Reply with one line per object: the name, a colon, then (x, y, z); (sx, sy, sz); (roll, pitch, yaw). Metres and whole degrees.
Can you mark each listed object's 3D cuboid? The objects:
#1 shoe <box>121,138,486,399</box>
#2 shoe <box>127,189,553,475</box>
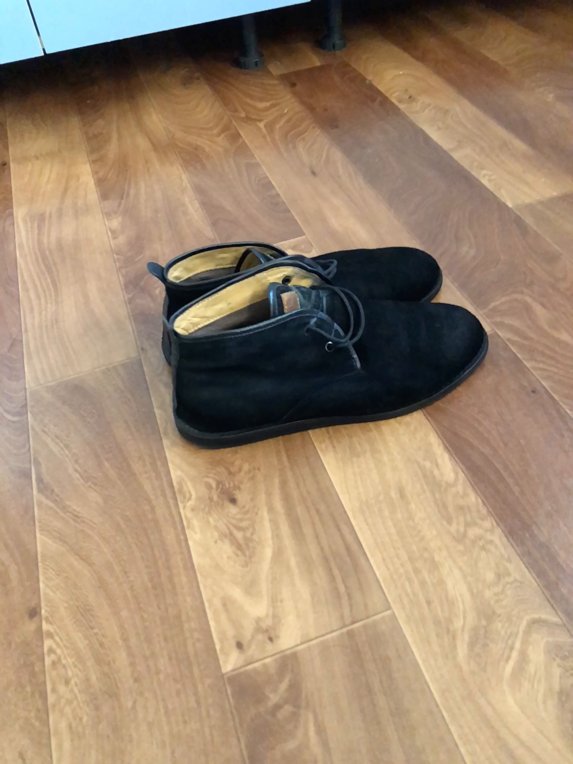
shoe: (0.016, -0.108, 0.580); (0.290, 0.129, 0.111); (-17, 48, -11)
shoe: (0.037, -0.042, 0.505); (0.290, 0.129, 0.111); (-13, 47, -7)
